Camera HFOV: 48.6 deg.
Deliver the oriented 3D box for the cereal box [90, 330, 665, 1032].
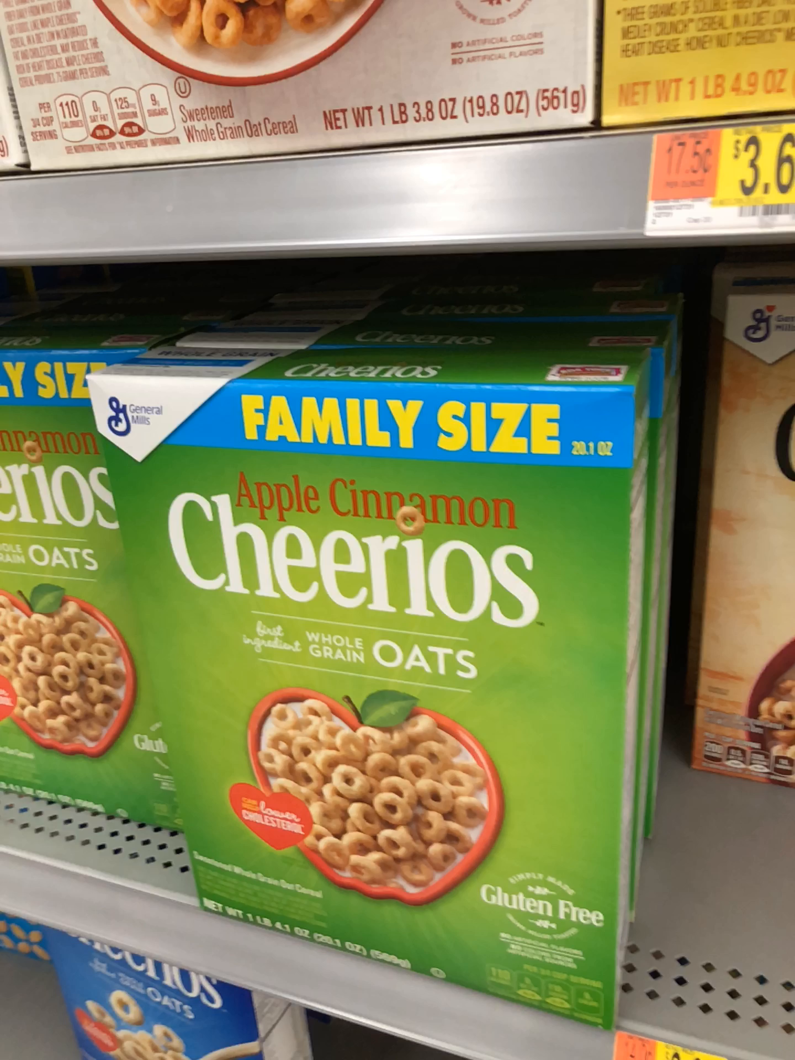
[{"bbox_3d":[-0.005,0.068,0.417,0.230,0.309,0.060,6,24,21],"label":"cereal box"}]
